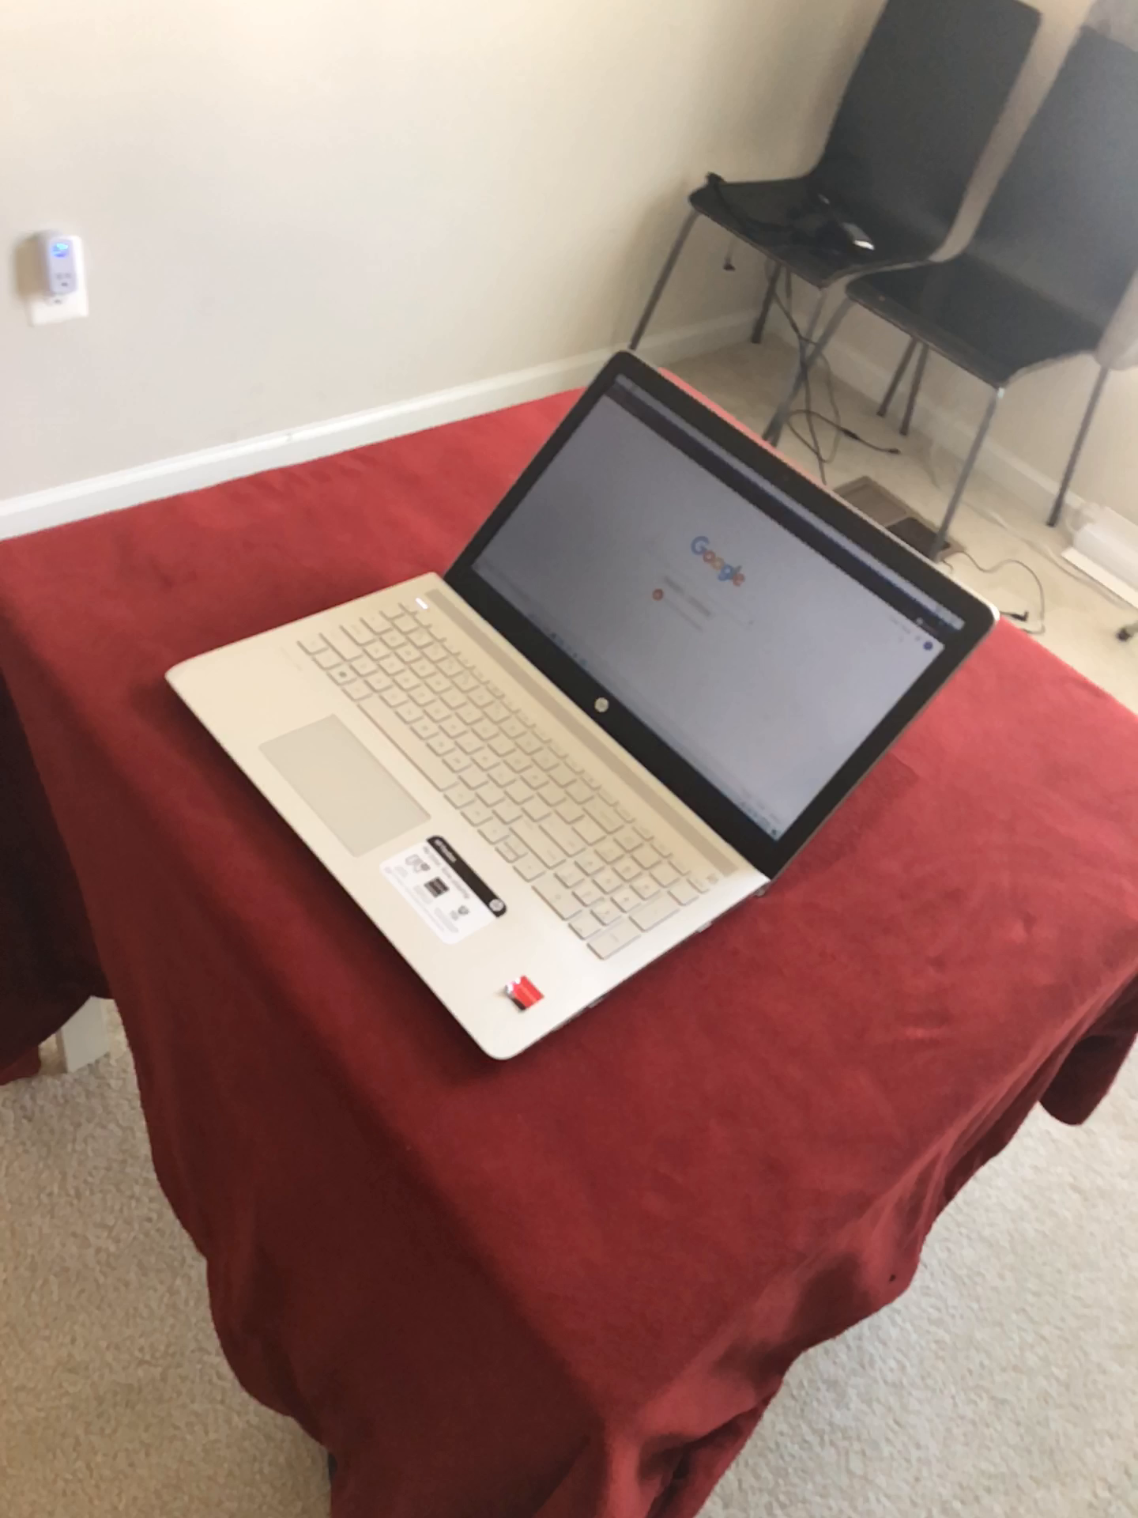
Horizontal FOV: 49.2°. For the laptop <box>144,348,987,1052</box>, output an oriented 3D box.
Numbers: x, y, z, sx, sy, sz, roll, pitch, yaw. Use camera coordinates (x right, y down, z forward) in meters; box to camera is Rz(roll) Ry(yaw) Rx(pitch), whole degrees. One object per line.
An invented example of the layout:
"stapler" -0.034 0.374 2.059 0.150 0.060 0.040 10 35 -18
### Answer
"laptop" -0.006 -0.077 0.832 0.396 0.158 0.361 -27 59 -34
